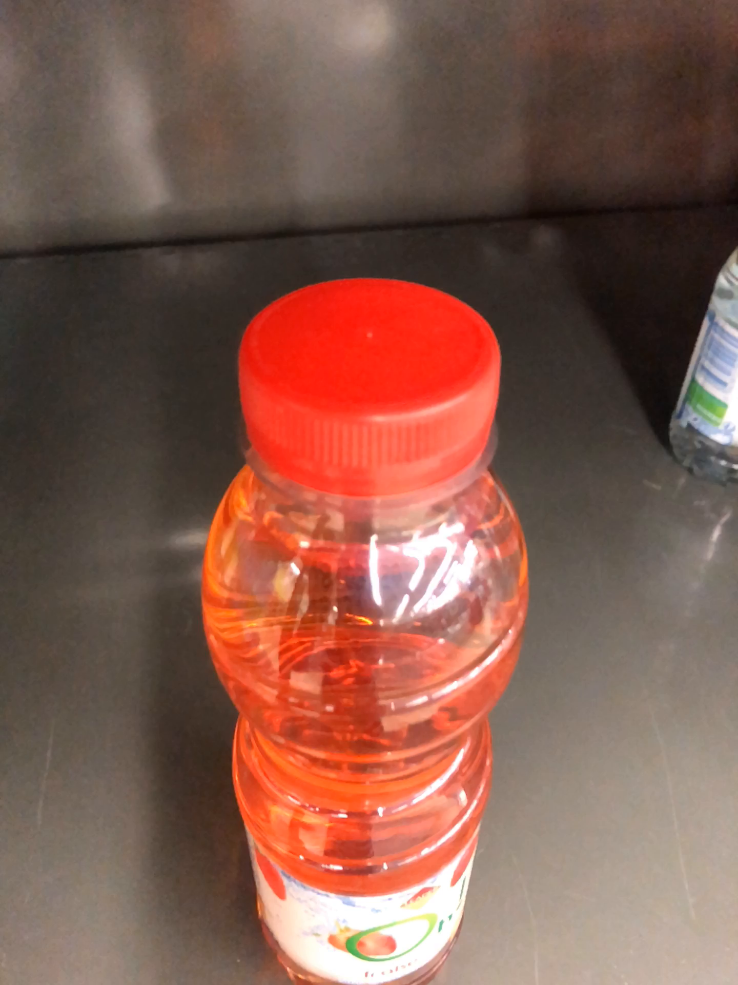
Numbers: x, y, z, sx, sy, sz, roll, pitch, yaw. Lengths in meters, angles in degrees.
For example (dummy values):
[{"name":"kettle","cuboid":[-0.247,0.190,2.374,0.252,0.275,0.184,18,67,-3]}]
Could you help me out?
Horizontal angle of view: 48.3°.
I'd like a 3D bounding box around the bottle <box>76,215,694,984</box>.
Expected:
[{"name":"bottle","cuboid":[-0.004,0.056,0.181,0.070,0.209,0.060,-9,42,-11]}]
